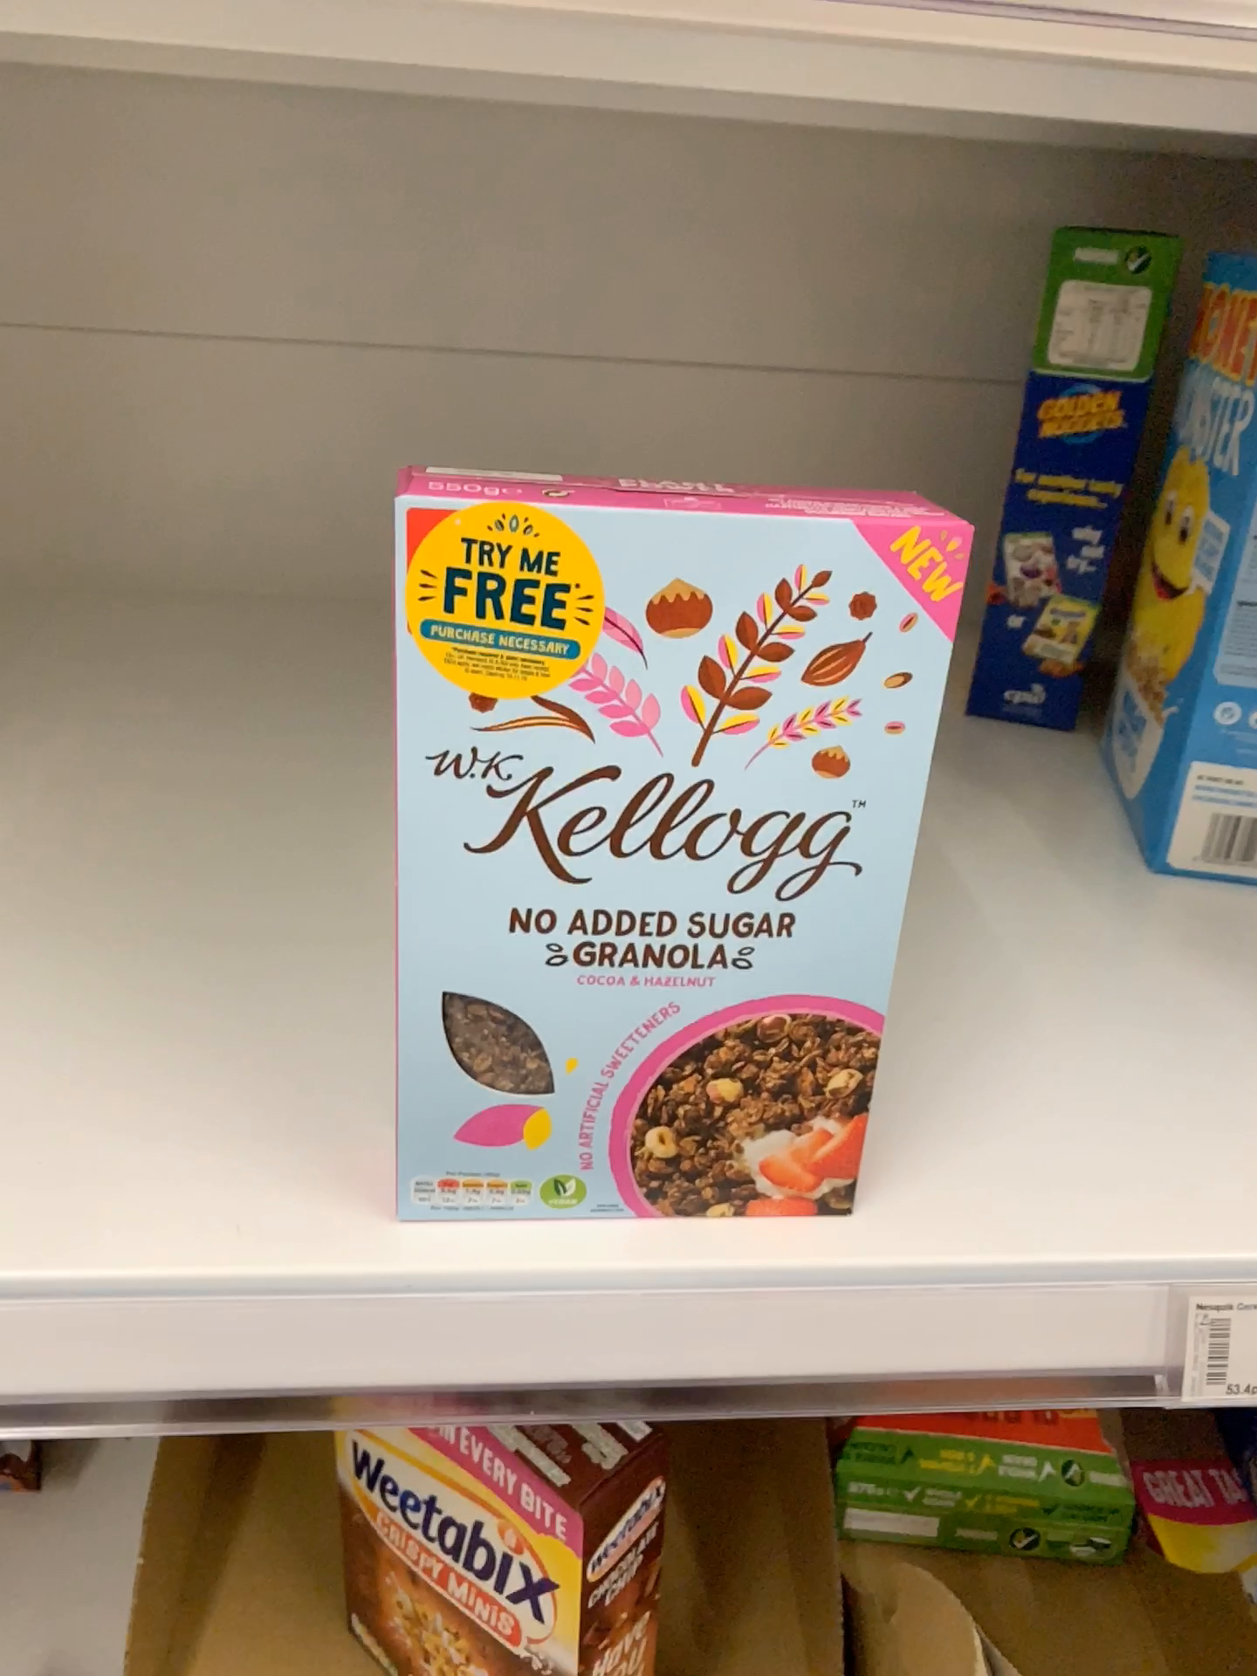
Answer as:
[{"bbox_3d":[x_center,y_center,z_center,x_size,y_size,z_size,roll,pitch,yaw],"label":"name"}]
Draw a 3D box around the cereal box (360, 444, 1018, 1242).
[{"bbox_3d":[0.007,0.013,0.408,0.170,0.248,0.050,1,26,-6],"label":"cereal box"}]
